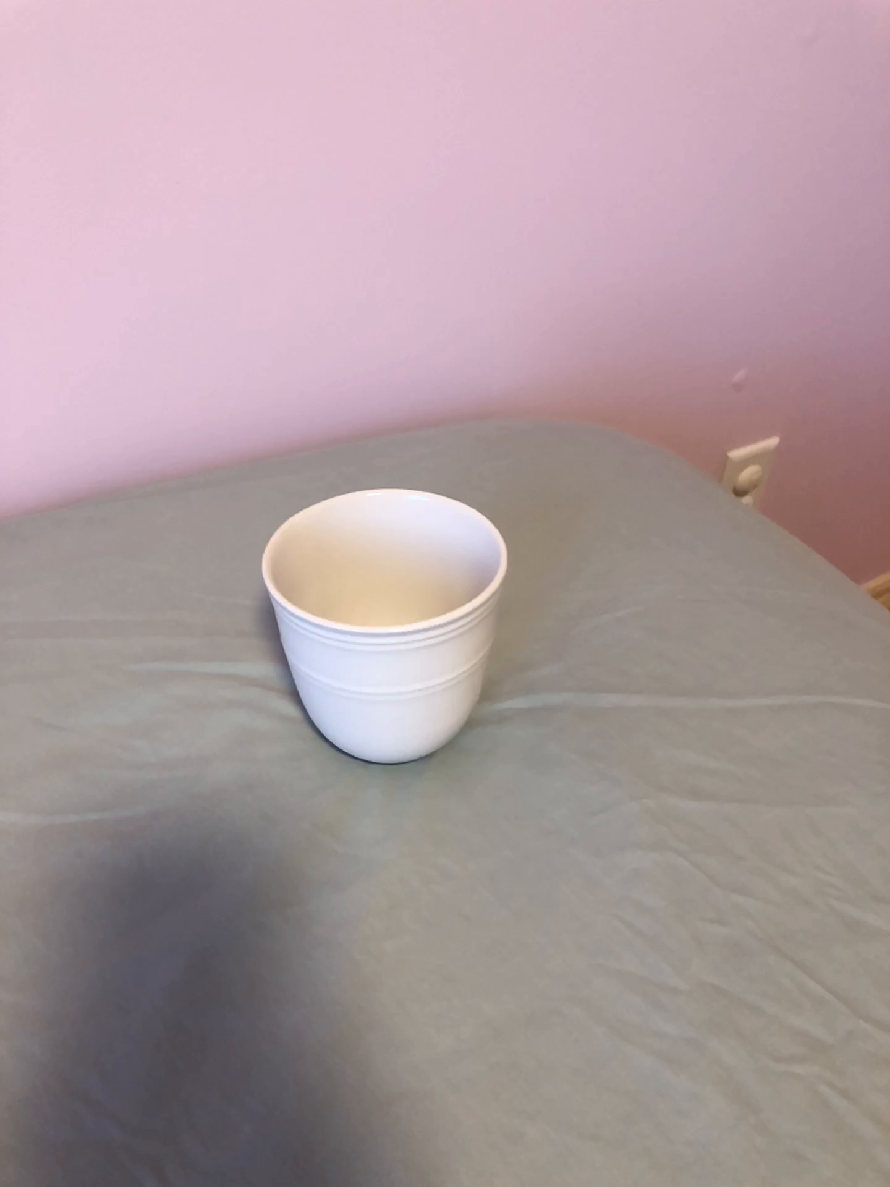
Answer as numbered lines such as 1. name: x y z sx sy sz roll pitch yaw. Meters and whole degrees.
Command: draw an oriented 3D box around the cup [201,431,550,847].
1. cup: -0.023 0.013 0.437 0.100 0.100 0.141 12 40 13
